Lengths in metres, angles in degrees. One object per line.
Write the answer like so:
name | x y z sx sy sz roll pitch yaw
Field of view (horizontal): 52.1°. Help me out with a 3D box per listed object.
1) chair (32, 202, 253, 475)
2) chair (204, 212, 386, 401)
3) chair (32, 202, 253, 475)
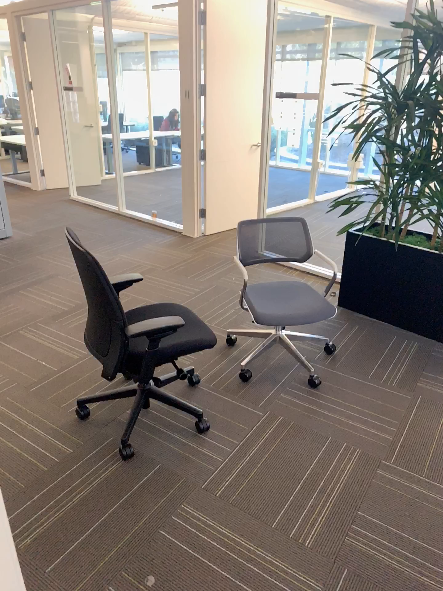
chair | -0.395 0.118 2.218 0.711 0.915 0.824 -14 28 -30
chair | 0.363 0.008 2.673 0.730 0.776 0.754 -8 26 -18
chair | -0.395 0.118 2.218 0.711 0.915 0.824 -14 28 -30
